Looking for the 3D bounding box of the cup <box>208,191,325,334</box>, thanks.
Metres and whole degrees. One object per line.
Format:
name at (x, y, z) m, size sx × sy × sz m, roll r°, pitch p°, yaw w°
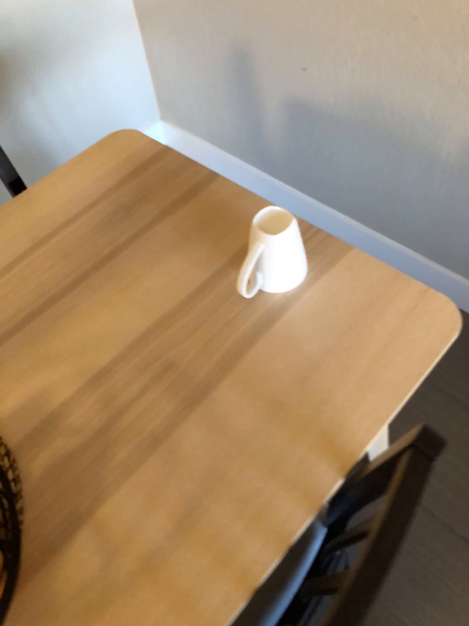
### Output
cup at (0.050, -0.074, 0.767) m, size 0.100 × 0.120 × 0.140 m, roll 27°, pitch 62°, yaw 24°
